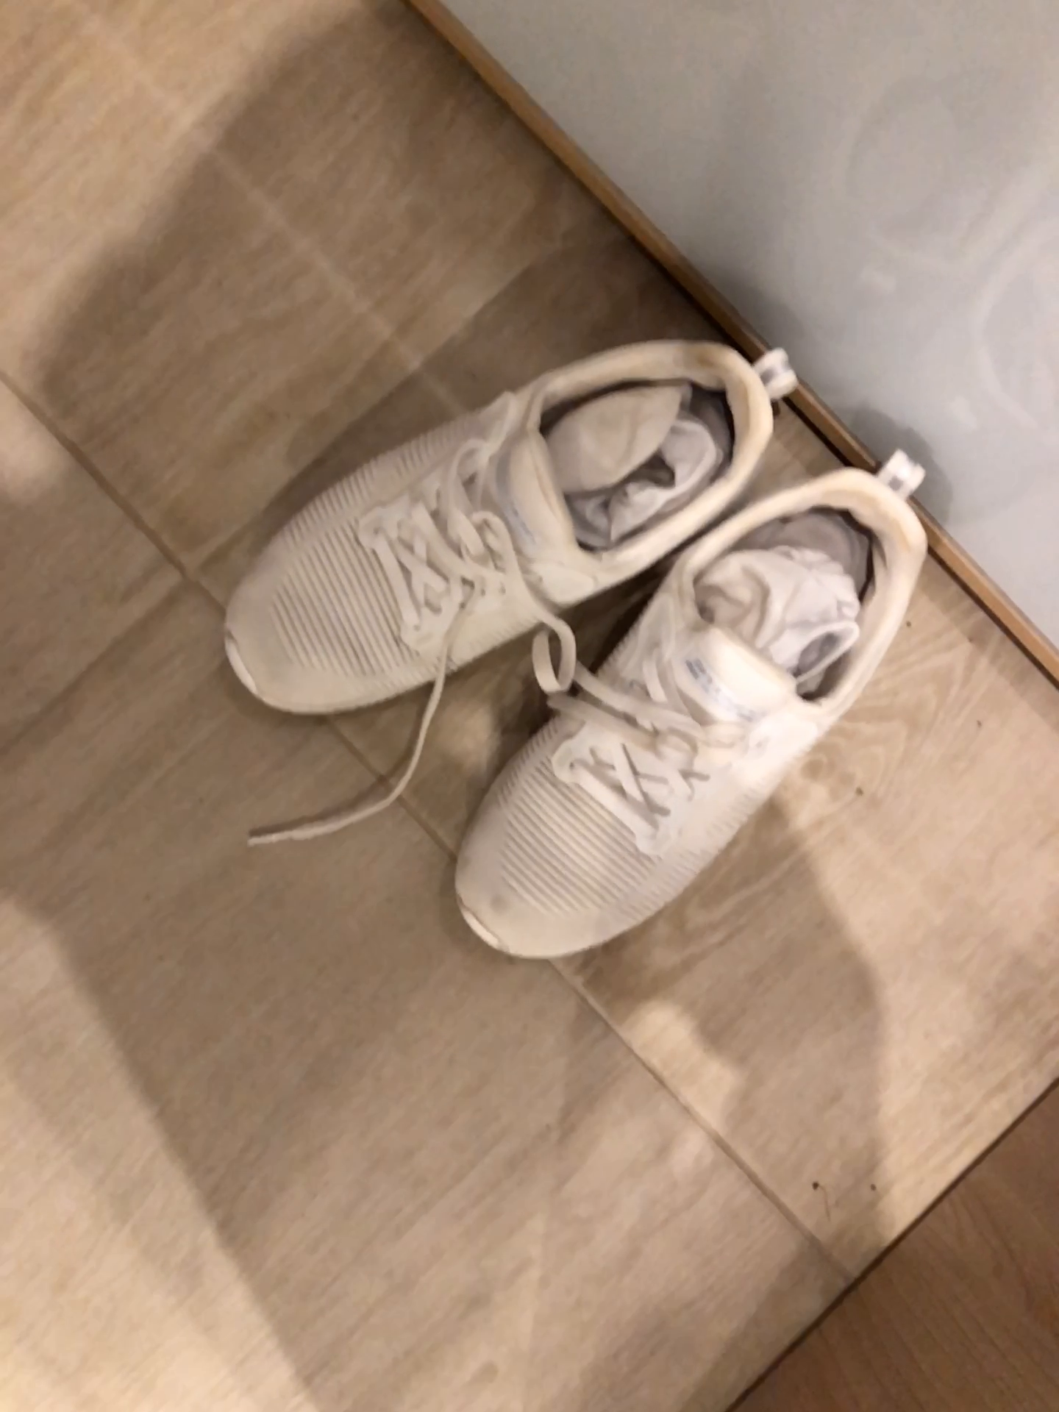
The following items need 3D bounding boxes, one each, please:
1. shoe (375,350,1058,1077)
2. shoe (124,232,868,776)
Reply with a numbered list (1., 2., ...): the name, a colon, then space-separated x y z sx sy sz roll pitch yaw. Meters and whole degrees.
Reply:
1. shoe: 0.074 0.003 0.505 0.110 0.110 0.280 42 86 2
2. shoe: -0.013 -0.078 0.510 0.270 0.110 0.110 -26 87 -3
